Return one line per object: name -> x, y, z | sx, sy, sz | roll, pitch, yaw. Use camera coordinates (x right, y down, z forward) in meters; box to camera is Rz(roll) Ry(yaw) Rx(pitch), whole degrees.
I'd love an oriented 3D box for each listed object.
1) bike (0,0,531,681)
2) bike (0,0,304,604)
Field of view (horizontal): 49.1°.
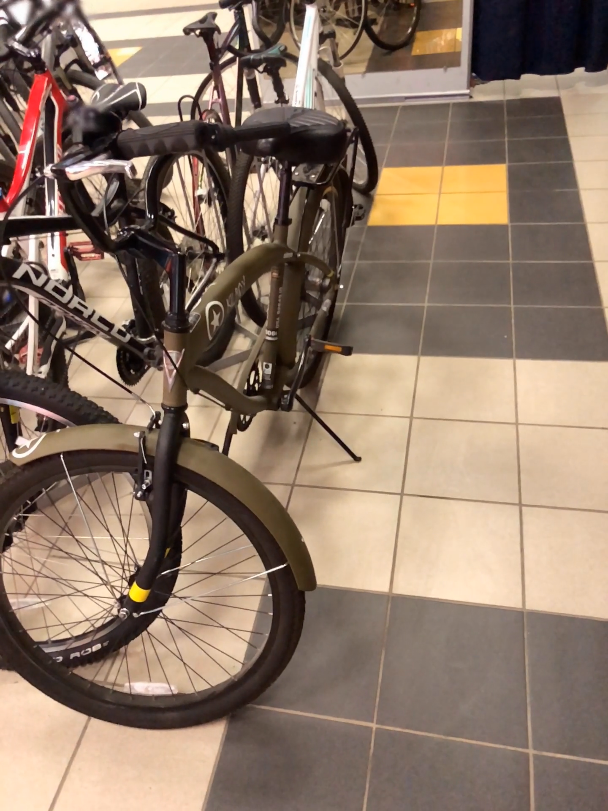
bike -> -0.198, -0.368, 1.522 | 0.832, 1.131, 1.500 | 15, 42, 25
bike -> -0.619, -0.264, 1.467 | 0.664, 1.228, 0.976 | 11, 37, 22
